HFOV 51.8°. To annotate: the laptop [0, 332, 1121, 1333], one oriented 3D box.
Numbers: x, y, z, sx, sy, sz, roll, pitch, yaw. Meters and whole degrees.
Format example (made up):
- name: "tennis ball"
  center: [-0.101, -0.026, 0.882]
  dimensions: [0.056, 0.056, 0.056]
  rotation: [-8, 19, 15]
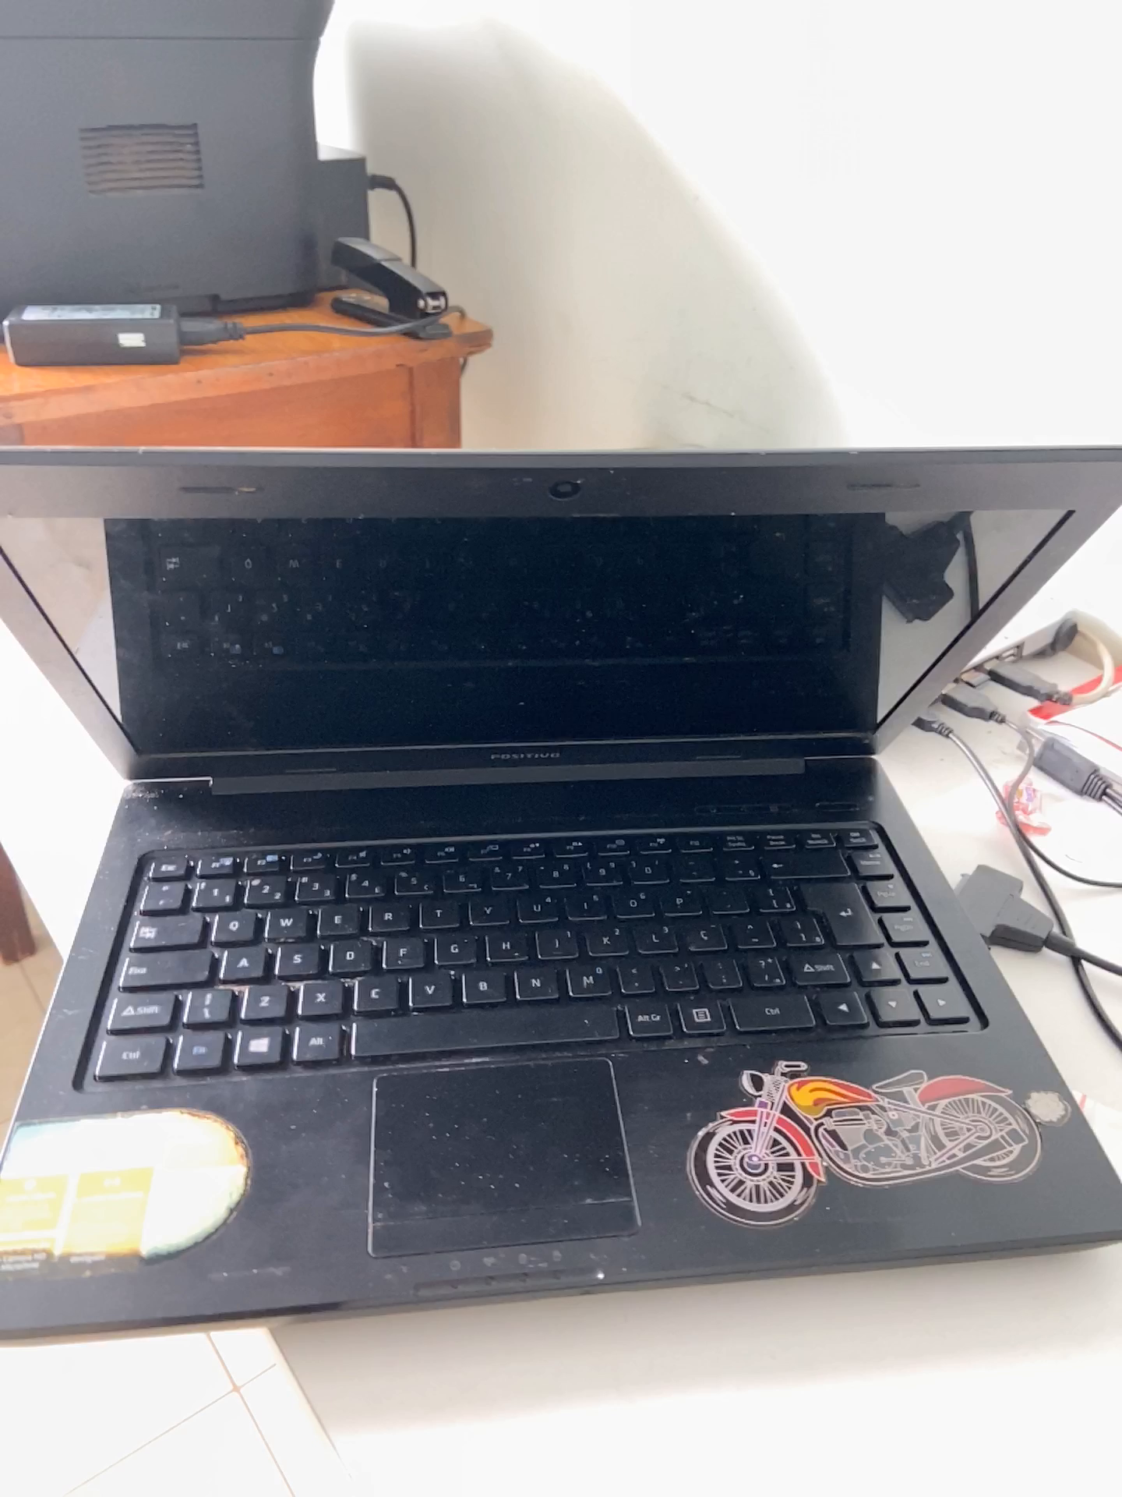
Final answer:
- name: "laptop"
  center: [-0.001, 0.000, 0.363]
  dimensions: [0.330, 0.189, 0.234]
  rotation: [-2, 34, -7]
